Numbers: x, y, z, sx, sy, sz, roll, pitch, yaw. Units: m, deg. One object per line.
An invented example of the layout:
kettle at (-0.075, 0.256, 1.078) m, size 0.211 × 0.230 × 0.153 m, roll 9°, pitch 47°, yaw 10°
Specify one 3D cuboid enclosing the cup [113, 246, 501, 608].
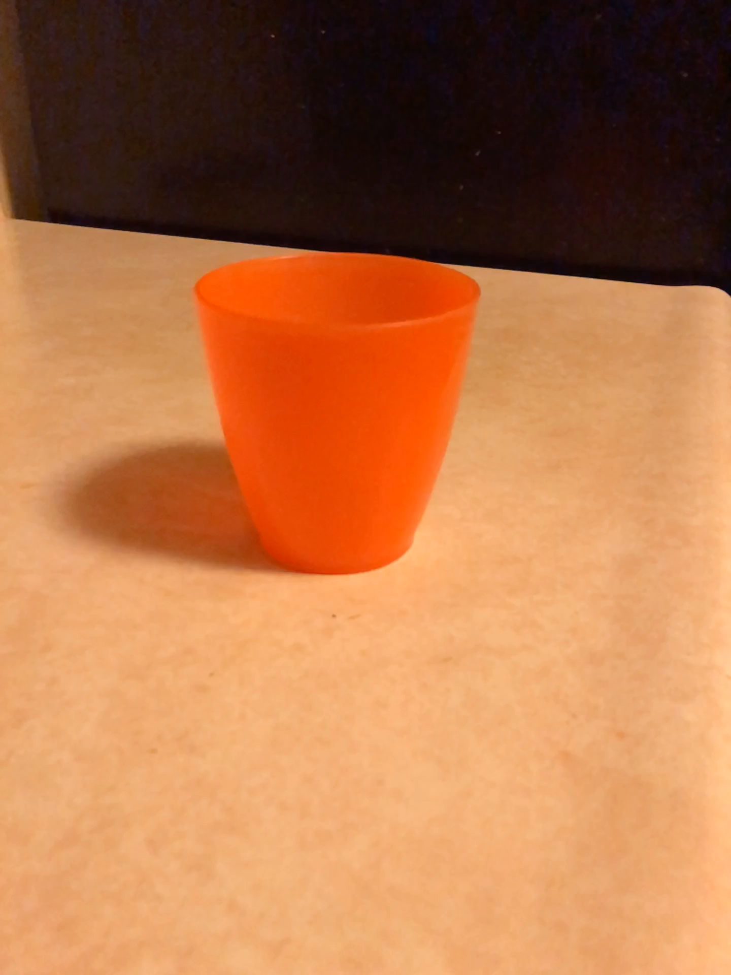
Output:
cup at (-0.011, -0.024, 0.235) m, size 0.080 × 0.070 × 0.080 m, roll 1°, pitch 27°, yaw 0°
